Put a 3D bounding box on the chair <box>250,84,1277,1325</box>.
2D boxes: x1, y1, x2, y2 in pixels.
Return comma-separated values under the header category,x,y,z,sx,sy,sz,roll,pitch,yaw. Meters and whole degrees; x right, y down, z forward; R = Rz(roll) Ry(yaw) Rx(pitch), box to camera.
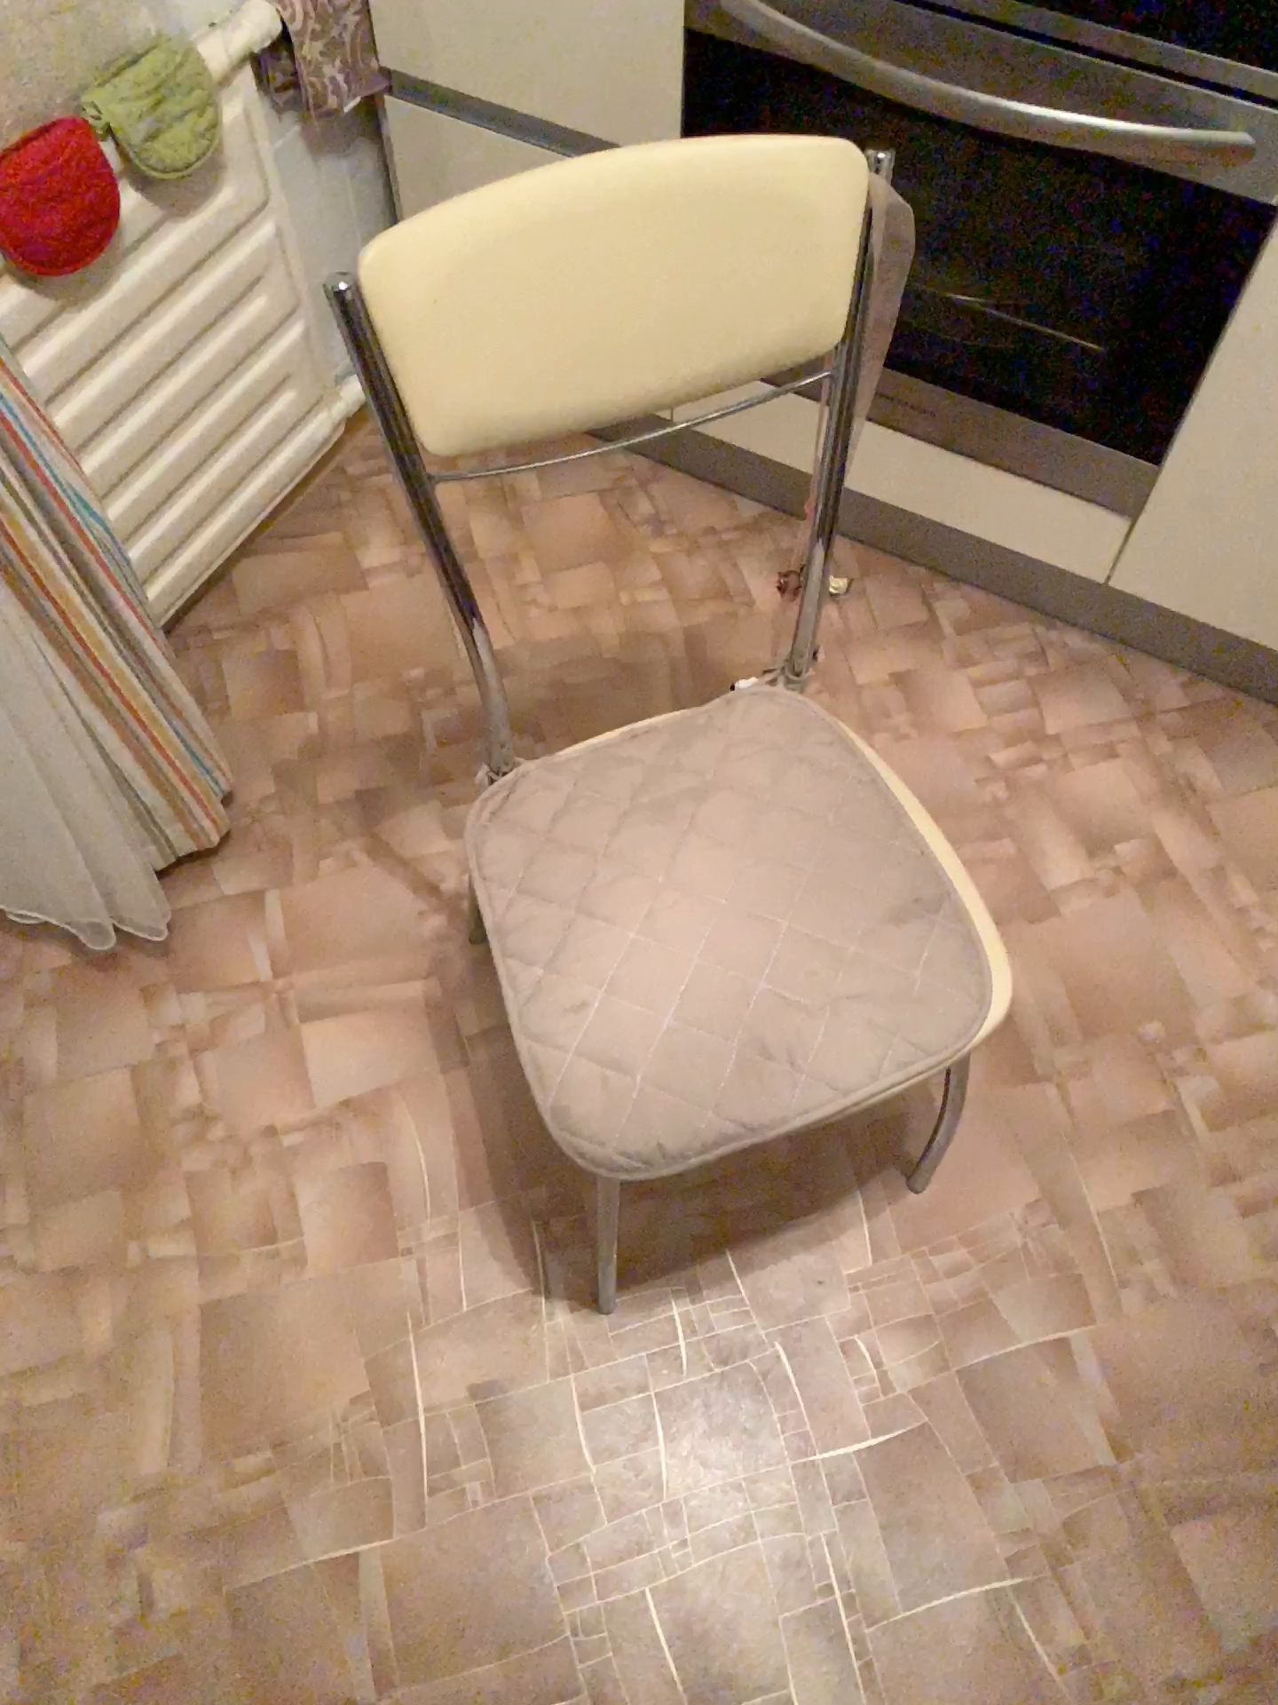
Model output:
category,x,y,z,sx,sy,sz,roll,pitch,yaw
chair,0.039,-0.016,1.044,0.384,0.855,0.493,-18,61,-11
